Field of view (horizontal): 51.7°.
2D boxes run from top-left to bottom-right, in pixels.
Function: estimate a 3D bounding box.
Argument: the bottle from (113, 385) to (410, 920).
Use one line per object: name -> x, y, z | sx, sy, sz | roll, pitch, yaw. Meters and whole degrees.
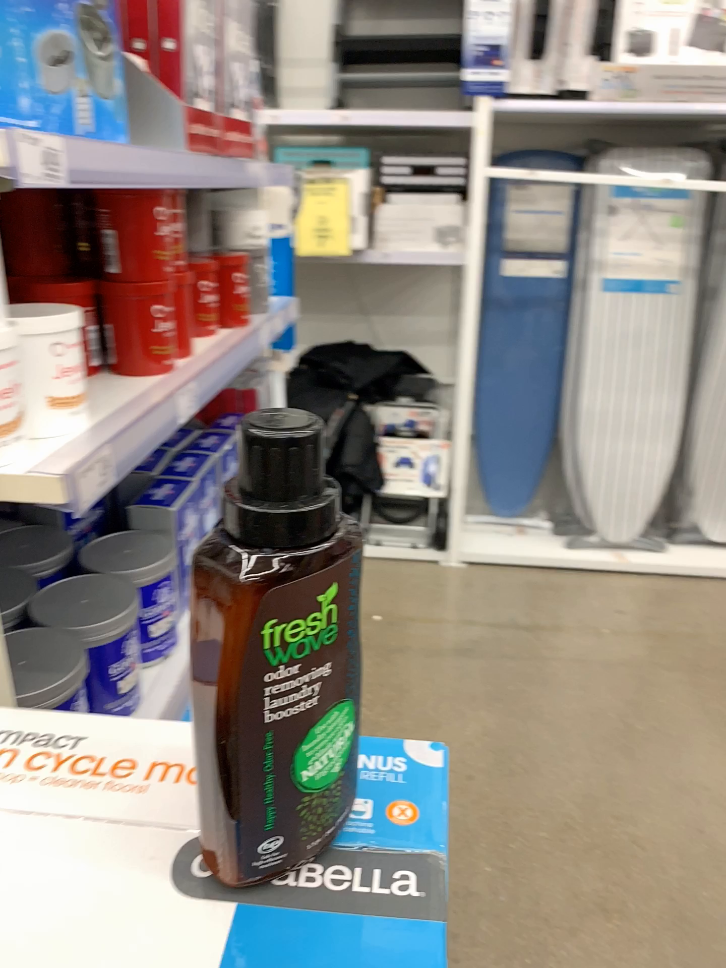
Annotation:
bottle -> -0.041, 0.071, 0.347 | 0.100, 0.209, 0.070 | -19, 29, -41
